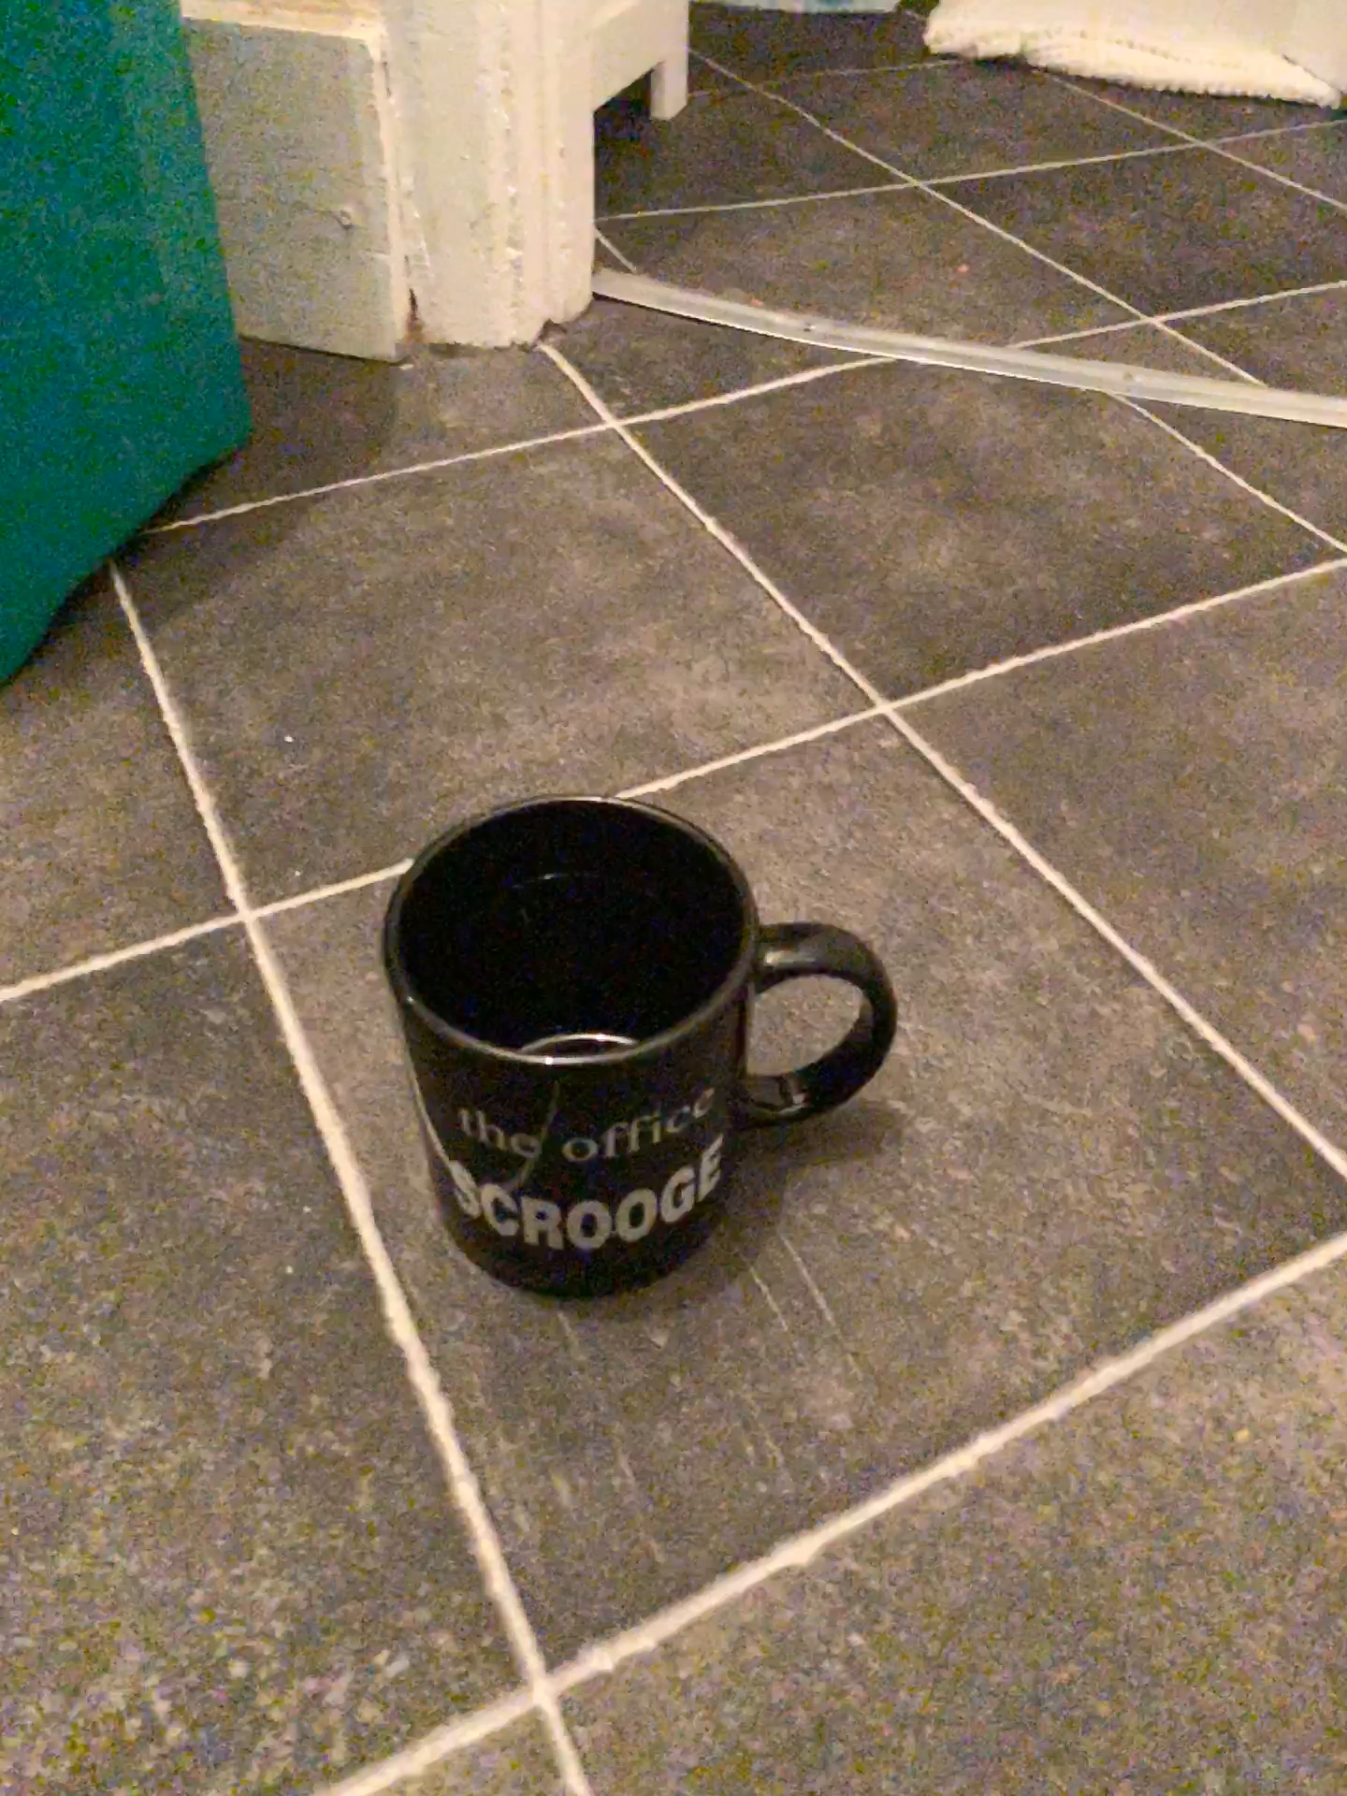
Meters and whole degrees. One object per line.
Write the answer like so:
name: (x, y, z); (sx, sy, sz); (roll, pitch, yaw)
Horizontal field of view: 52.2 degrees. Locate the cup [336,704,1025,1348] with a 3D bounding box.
cup: (-0.004, 0.029, 0.331); (0.130, 0.099, 0.091); (-9, 46, -11)
